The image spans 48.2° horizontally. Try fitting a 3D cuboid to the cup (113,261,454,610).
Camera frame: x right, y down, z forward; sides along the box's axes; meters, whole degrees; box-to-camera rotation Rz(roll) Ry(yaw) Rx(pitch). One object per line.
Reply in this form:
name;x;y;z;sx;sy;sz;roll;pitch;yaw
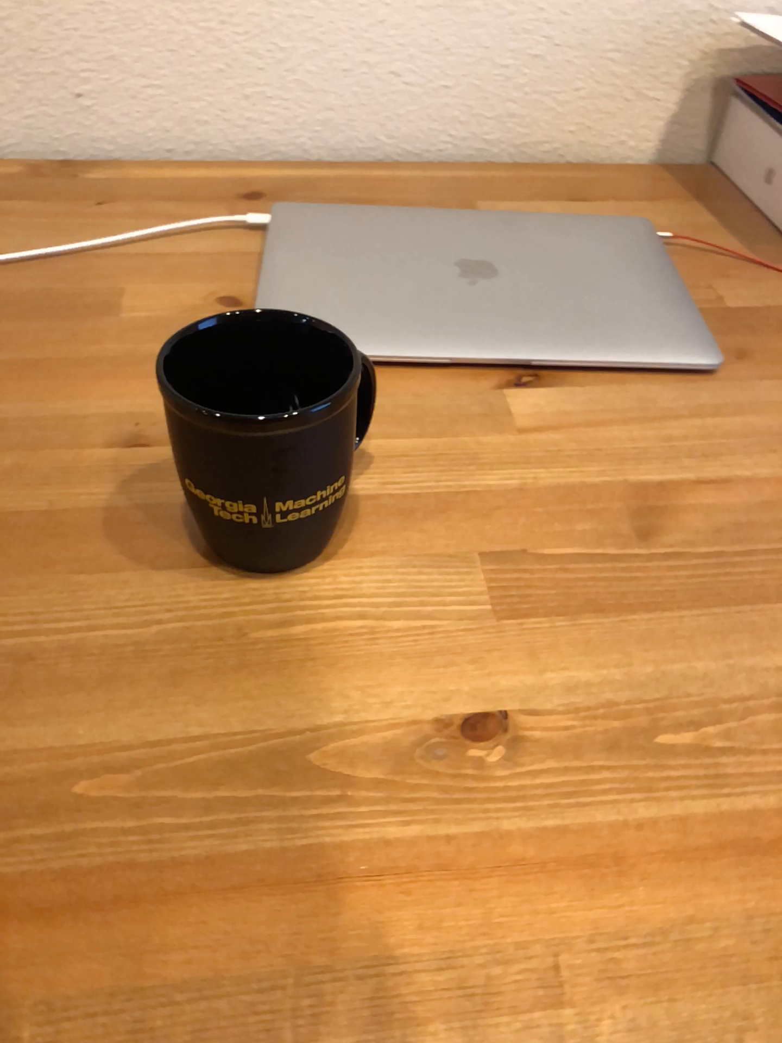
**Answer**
cup;-0.044;-0.045;0.406;0.090;0.090;0.120;26;47;23
